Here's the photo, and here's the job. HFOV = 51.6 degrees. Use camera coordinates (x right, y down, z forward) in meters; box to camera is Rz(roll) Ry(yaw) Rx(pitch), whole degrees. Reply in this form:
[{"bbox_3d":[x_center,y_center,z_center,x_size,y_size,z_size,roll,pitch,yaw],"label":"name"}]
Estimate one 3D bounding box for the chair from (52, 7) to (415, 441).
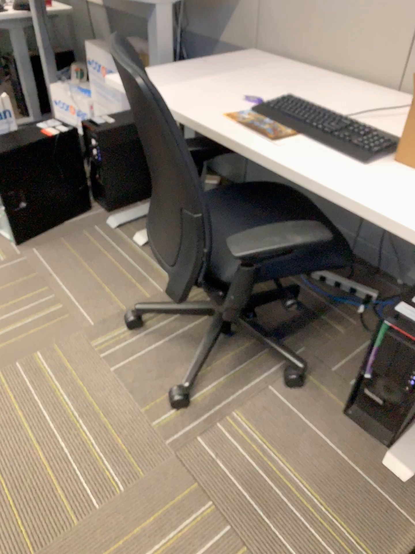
[{"bbox_3d":[0.075,-0.195,1.297,0.750,0.934,0.704,-16,43,-20],"label":"chair"}]
